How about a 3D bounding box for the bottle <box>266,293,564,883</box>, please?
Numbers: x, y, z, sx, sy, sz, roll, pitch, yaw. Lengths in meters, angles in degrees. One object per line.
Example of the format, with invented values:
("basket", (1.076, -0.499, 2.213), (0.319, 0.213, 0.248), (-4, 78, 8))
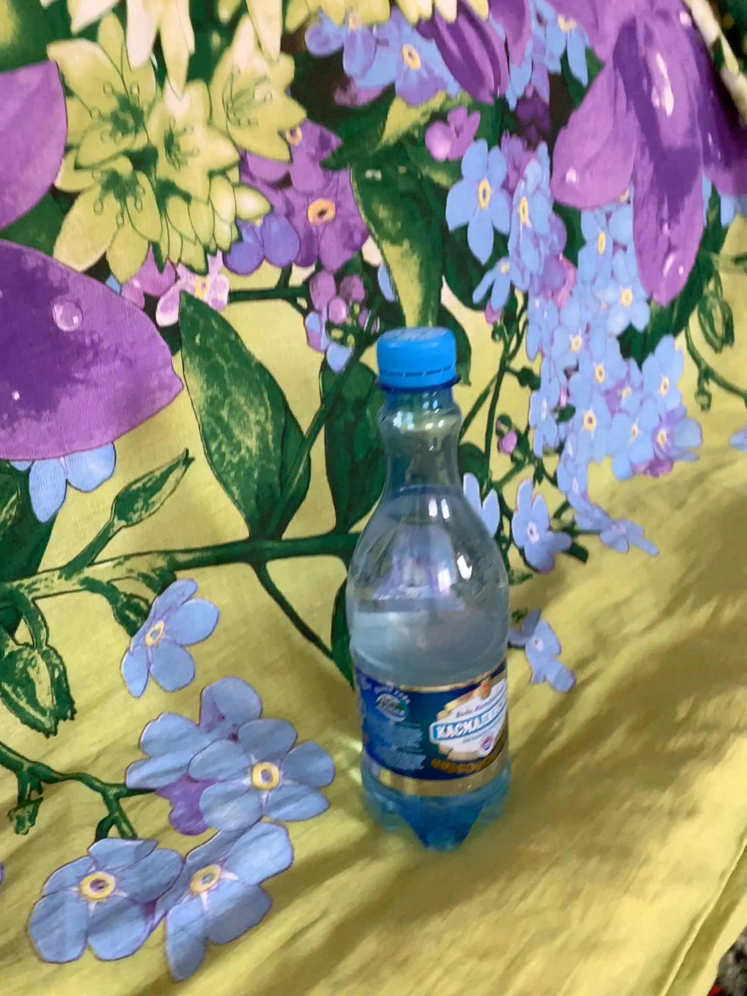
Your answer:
("bottle", (0.020, 0.036, 0.320), (0.080, 0.218, 0.070), (-20, 29, -32))
